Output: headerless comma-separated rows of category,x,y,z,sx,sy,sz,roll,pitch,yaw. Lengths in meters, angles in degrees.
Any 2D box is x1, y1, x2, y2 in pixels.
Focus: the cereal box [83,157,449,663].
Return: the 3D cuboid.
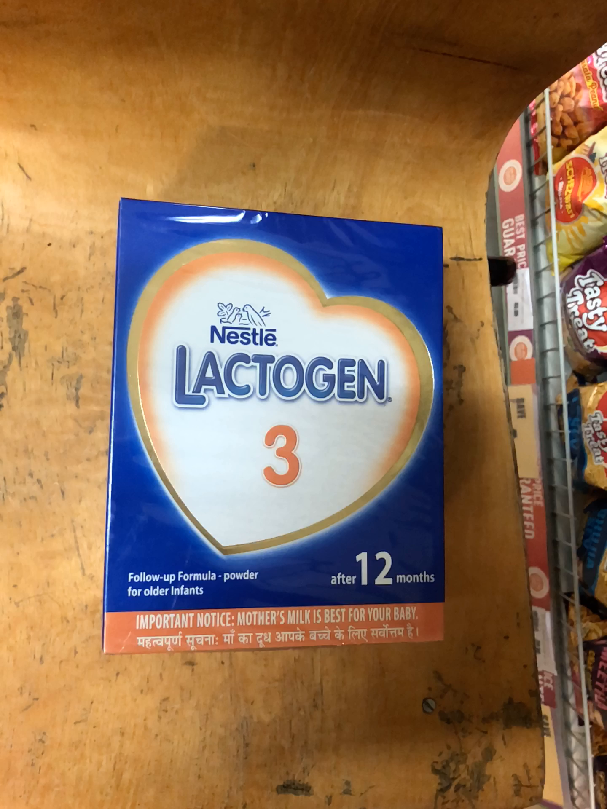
cereal box,-0.016,0.004,0.311,0.150,0.060,0.200,2,85,-12
